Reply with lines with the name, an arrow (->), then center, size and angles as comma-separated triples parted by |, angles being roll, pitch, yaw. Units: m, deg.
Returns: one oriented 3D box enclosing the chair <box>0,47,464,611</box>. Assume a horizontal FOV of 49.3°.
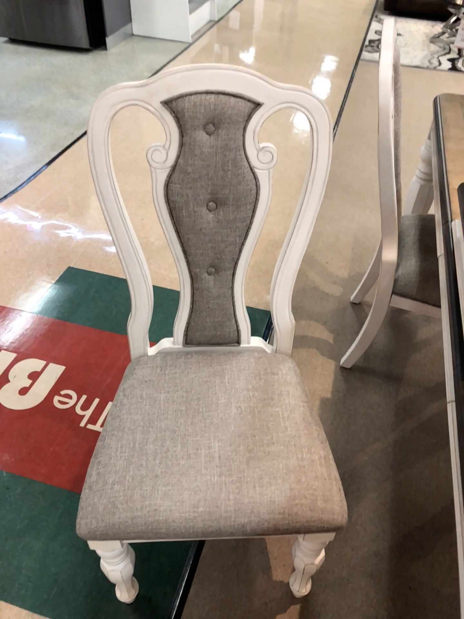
chair -> -0.028, 0.096, 1.085 | 0.550, 1.013, 0.674 | 1, 43, -3
